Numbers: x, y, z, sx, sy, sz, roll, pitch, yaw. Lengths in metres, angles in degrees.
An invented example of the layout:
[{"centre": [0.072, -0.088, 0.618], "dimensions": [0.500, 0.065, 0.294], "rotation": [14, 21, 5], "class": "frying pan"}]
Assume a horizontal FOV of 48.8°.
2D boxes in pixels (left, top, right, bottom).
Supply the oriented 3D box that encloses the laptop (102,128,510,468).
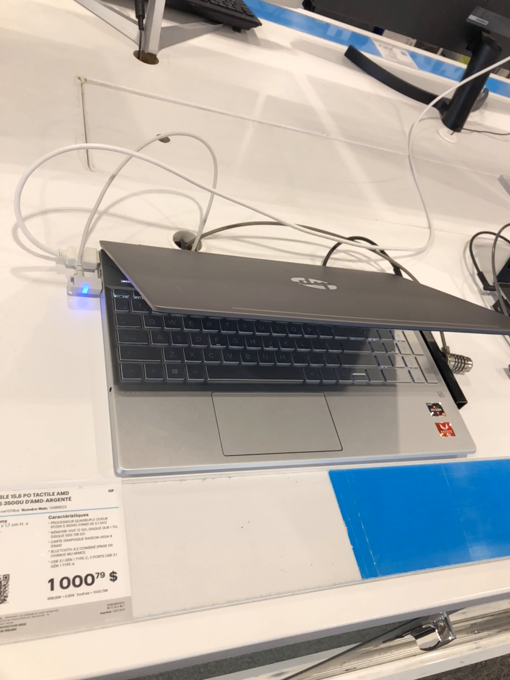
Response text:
[{"centre": [0.061, -0.031, 0.504], "dimensions": [0.351, 0.134, 0.231], "rotation": [3, 51, -24], "class": "laptop"}]
